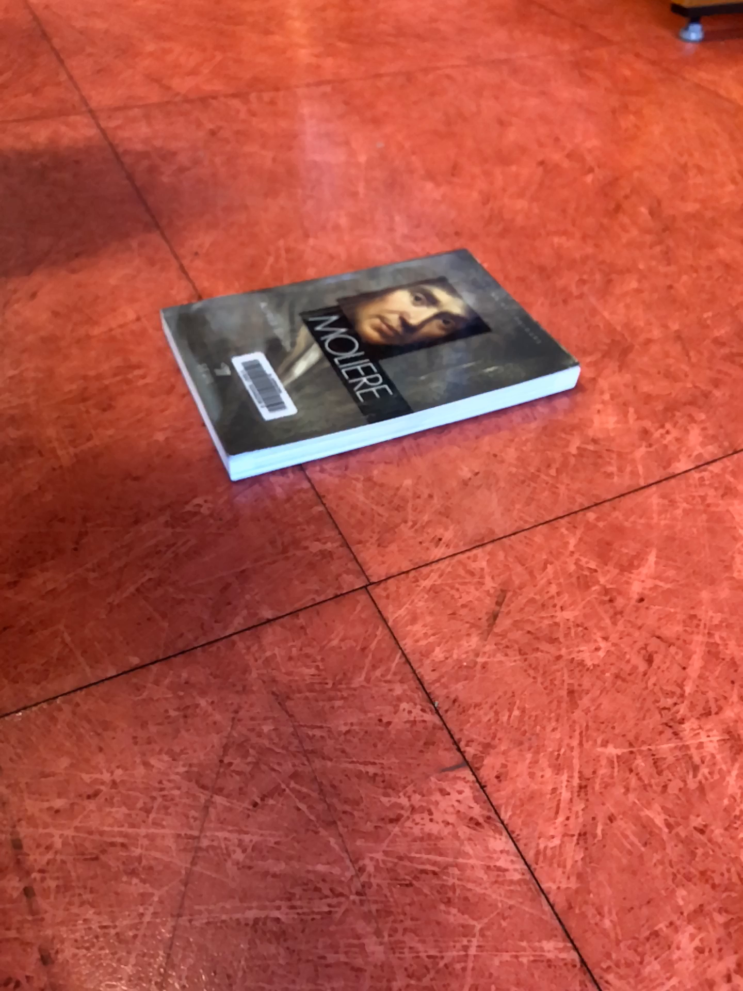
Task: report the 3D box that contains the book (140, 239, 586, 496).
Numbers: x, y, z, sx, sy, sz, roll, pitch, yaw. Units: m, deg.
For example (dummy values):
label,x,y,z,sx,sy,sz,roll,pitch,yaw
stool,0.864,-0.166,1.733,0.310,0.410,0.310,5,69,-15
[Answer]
label,x,y,z,sx,sy,sz,roll,pitch,yaw
book,-0.008,-0.074,0.414,0.183,0.015,0.134,-16,49,-18
